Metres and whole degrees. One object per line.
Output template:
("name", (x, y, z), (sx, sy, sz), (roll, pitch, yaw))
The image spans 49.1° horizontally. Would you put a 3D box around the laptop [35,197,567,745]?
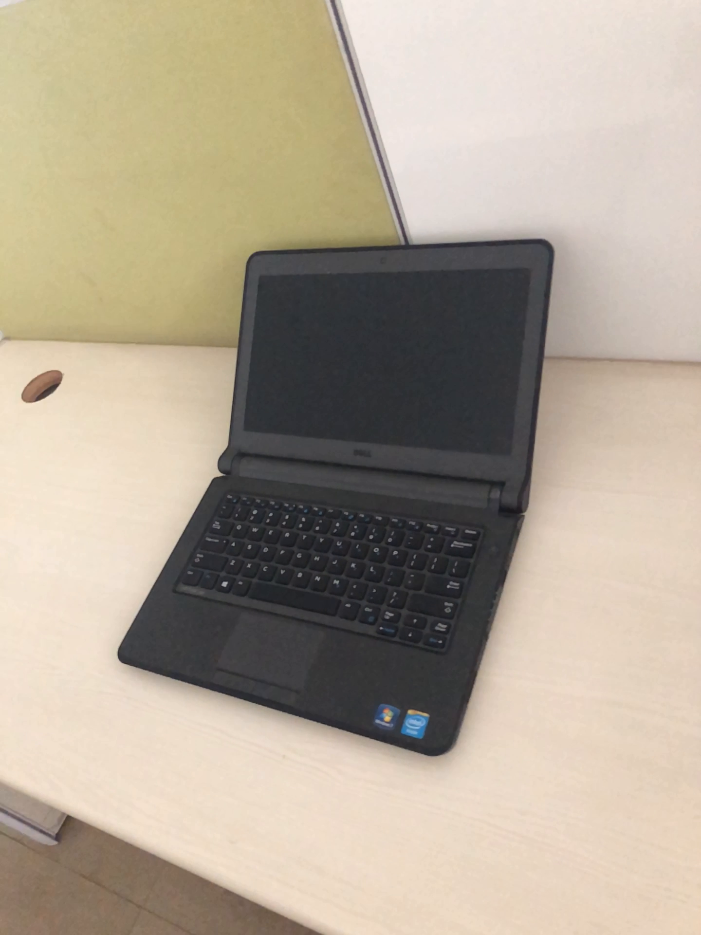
("laptop", (-0.022, -0.033, 0.669), (0.317, 0.122, 0.416), (7, 59, 28))
